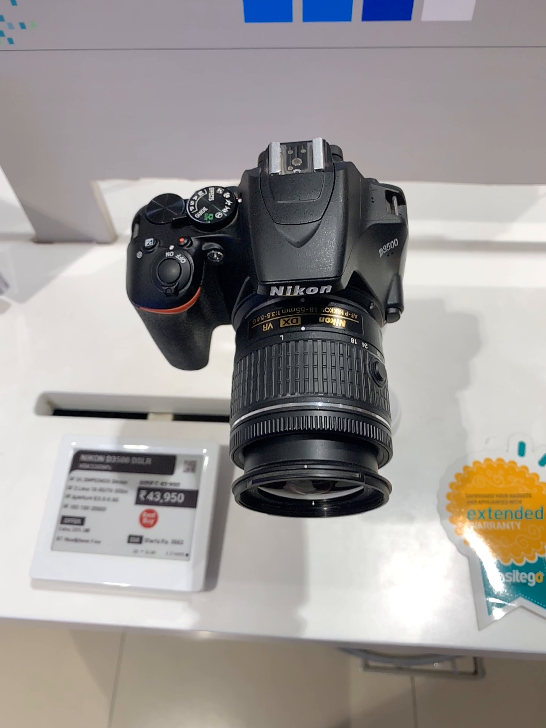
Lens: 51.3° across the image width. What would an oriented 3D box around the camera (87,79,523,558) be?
[{"bbox_3d":[0.010,-0.022,0.242,0.120,0.090,0.180,-2,59,3],"label":"camera"}]
